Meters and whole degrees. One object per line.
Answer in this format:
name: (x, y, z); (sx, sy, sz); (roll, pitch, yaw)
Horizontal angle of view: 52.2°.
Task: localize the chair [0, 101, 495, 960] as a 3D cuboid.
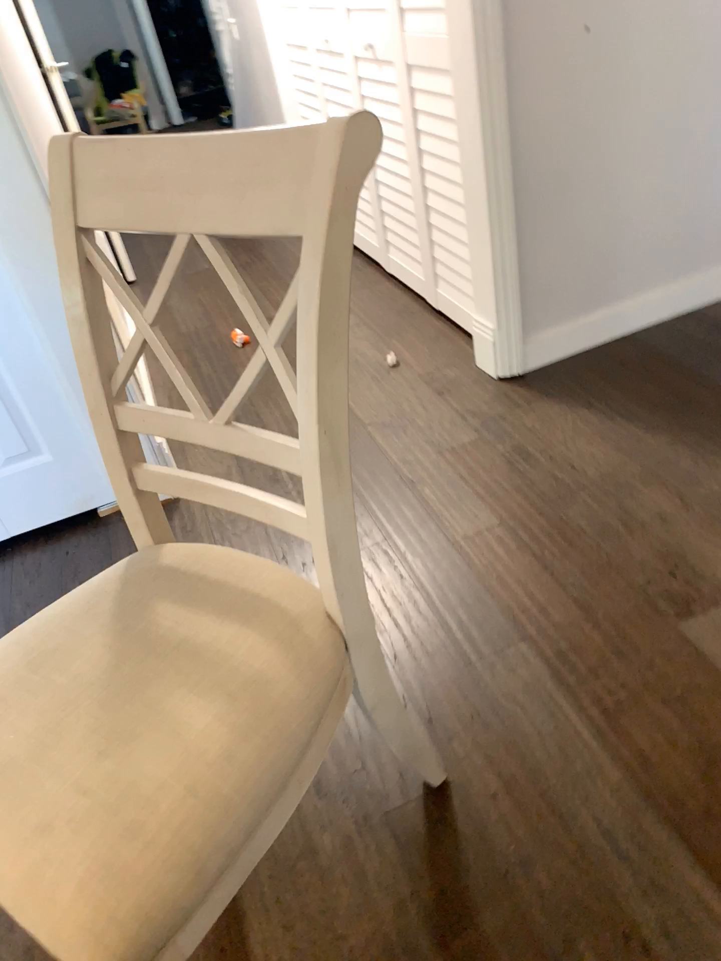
chair: (-0.269, 0.170, 0.846); (0.532, 0.924, 0.652); (16, 44, 34)
